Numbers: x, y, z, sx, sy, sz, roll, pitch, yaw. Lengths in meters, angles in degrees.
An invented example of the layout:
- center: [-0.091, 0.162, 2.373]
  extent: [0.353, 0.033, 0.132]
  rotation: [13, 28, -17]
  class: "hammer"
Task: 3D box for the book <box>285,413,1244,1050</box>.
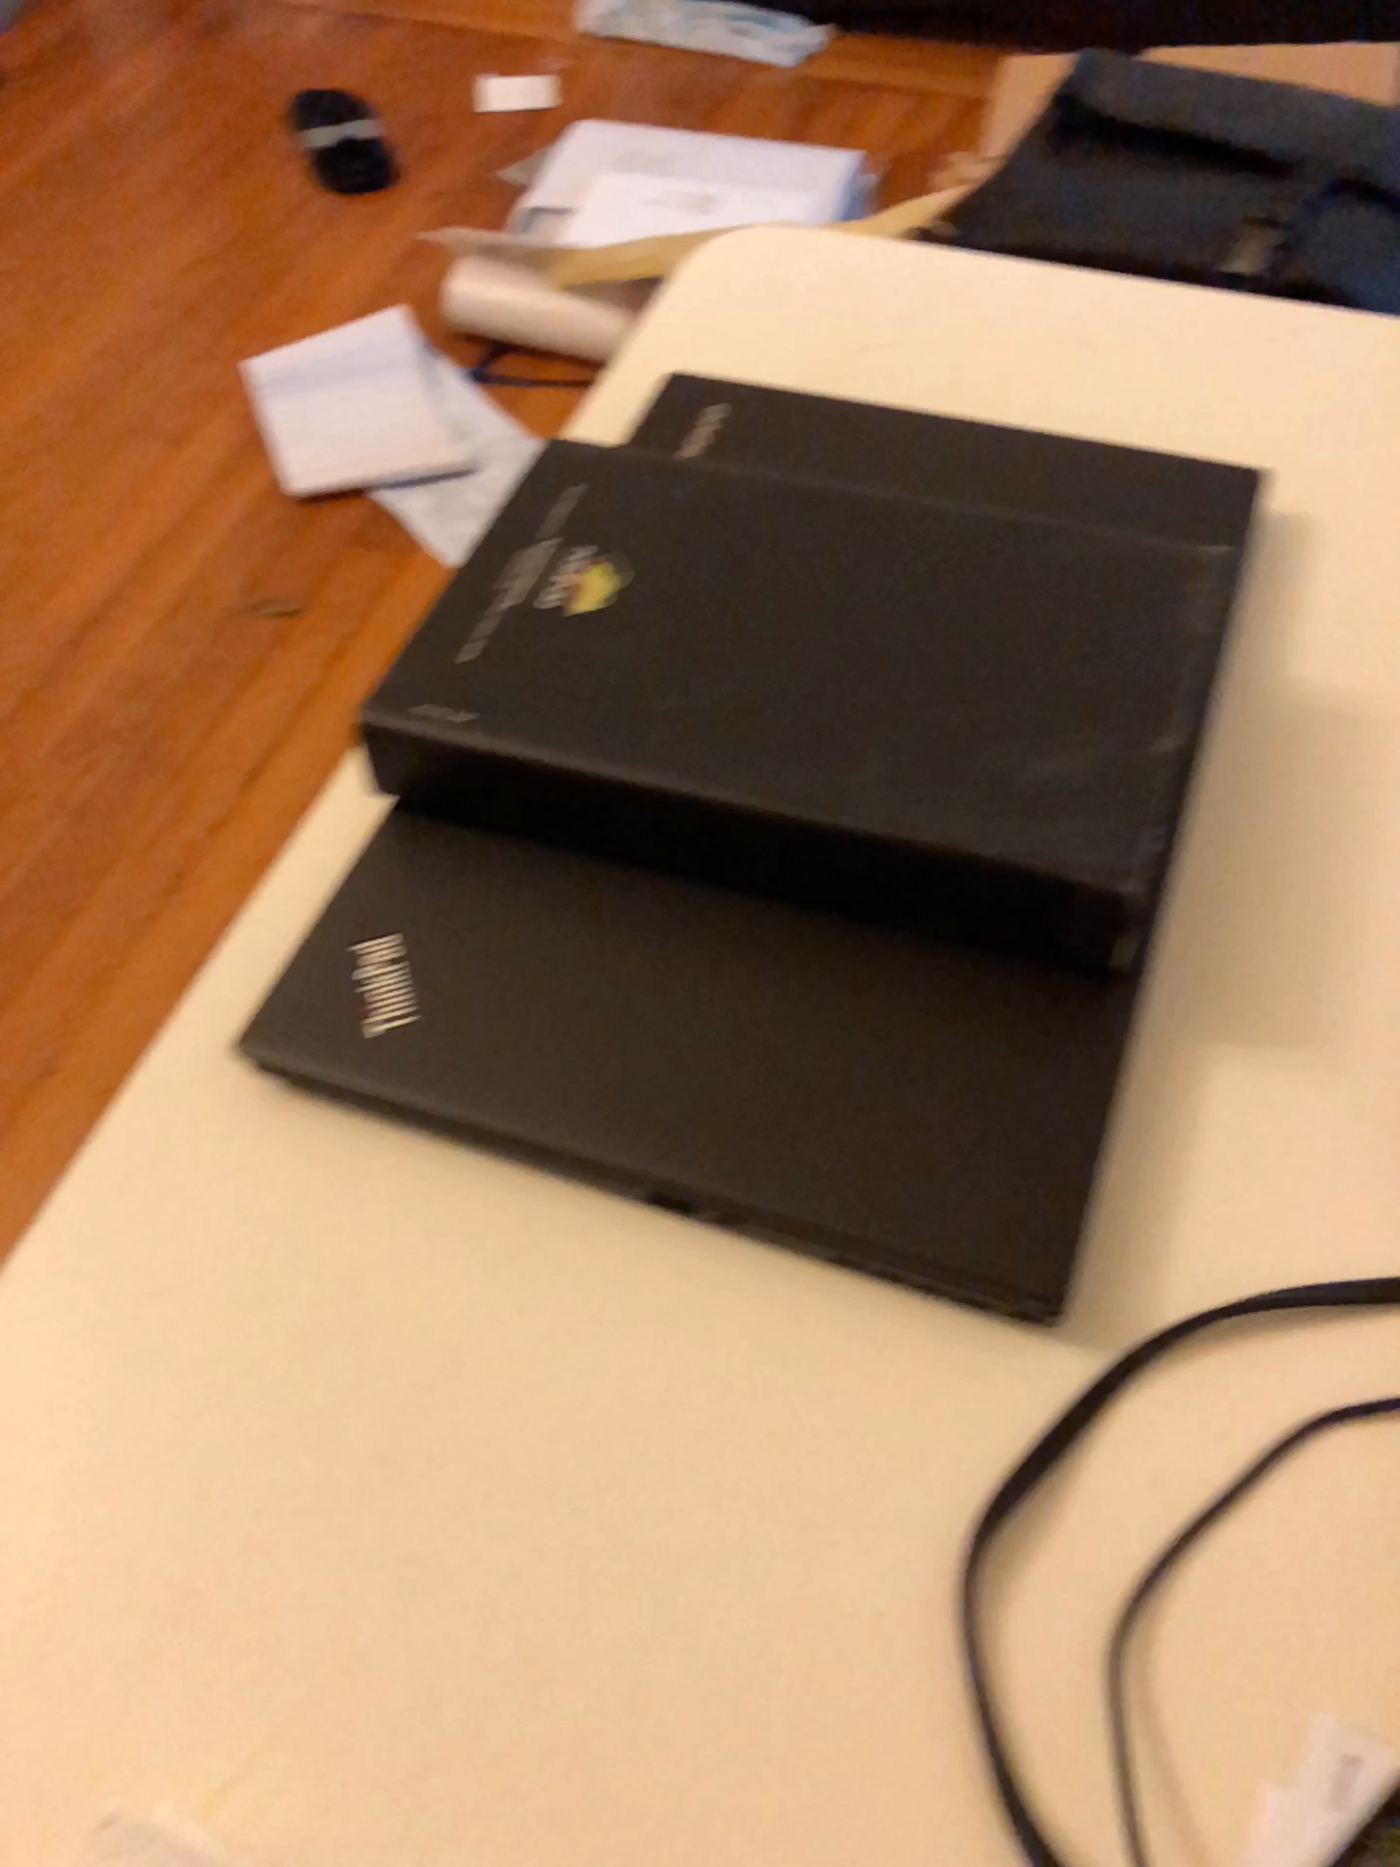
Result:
- center: [0.023, -0.069, 0.446]
  extent: [0.230, 0.040, 0.151]
  rotation: [15, 55, 13]
  class: "book"
